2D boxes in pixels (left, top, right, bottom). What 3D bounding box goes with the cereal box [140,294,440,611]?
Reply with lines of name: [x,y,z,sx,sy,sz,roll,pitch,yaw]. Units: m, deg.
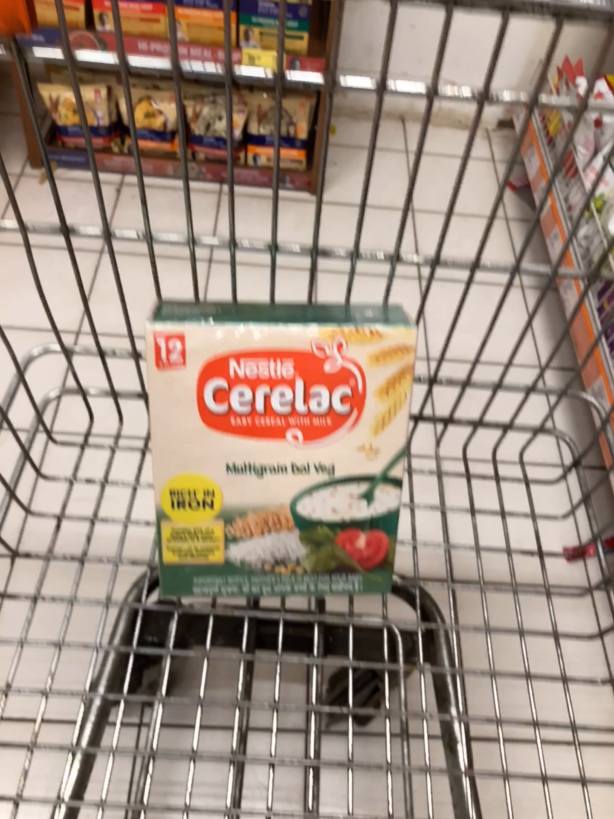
cereal box: [-0.014,0.030,0.423,0.160,0.189,0.050,0,23,-6]
